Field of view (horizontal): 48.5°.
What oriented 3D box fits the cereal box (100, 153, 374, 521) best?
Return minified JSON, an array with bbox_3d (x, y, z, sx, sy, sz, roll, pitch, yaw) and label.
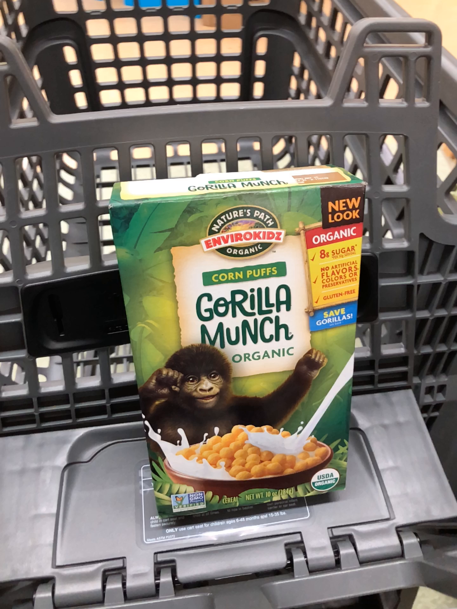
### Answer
[{"bbox_3d":[0.009,0.032,0.382,0.160,0.260,0.070,-7,28,-6],"label":"cereal box"}]
